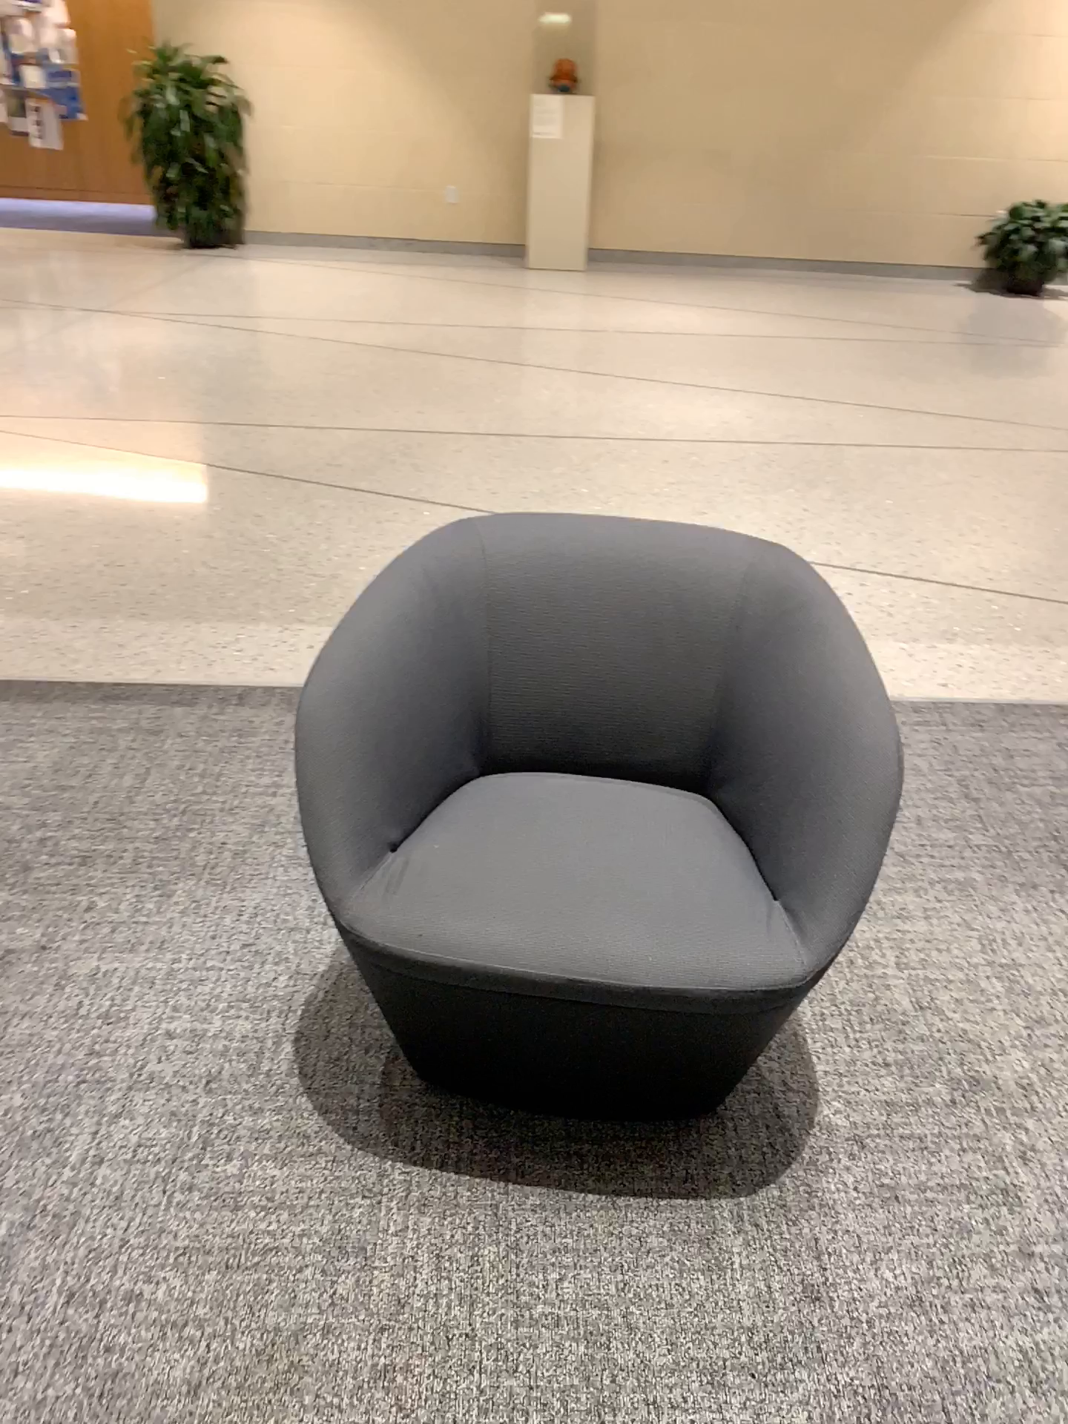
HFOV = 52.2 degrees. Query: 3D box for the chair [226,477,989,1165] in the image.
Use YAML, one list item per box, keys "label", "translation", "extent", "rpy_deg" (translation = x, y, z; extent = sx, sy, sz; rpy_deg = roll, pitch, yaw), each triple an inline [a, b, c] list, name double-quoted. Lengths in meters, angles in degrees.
- label: "chair"
  translation: [0.081, 0.112, 1.547]
  extent: [0.778, 0.658, 0.636]
  rpy_deg: [5, 30, 3]
